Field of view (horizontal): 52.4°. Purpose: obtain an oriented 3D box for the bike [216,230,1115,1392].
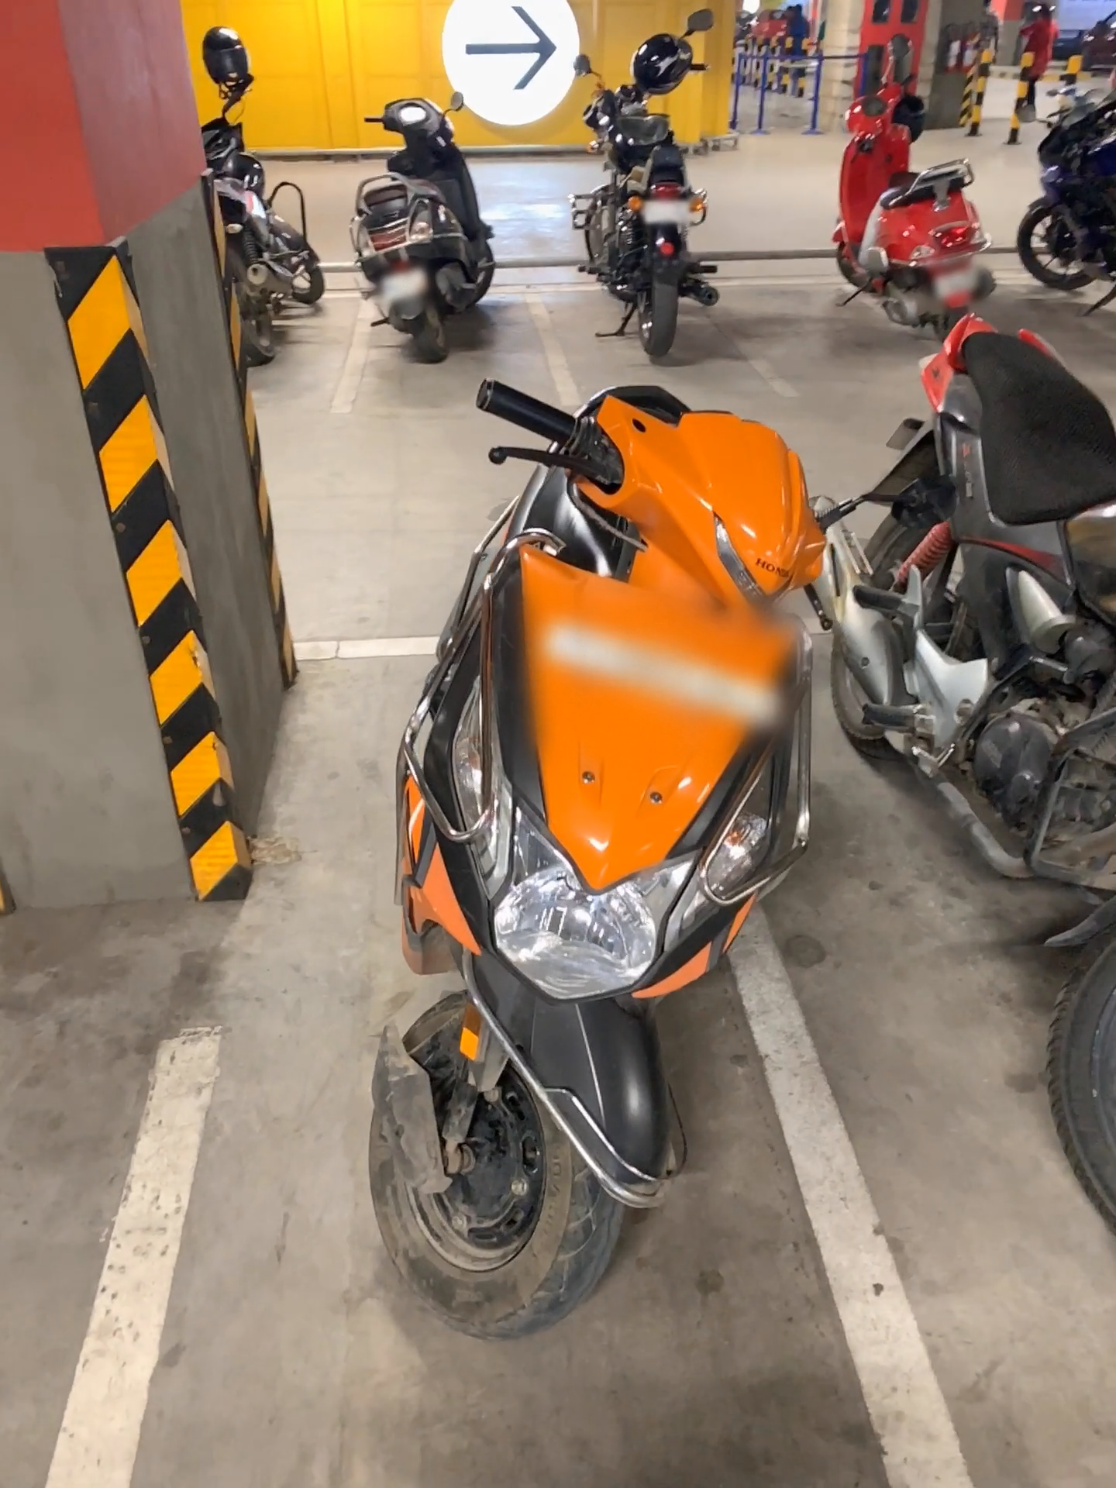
[{"bbox_3d":[0.179,-0.083,1.860,0.724,1.172,1.614,1,32,4],"label":"bike"}]
